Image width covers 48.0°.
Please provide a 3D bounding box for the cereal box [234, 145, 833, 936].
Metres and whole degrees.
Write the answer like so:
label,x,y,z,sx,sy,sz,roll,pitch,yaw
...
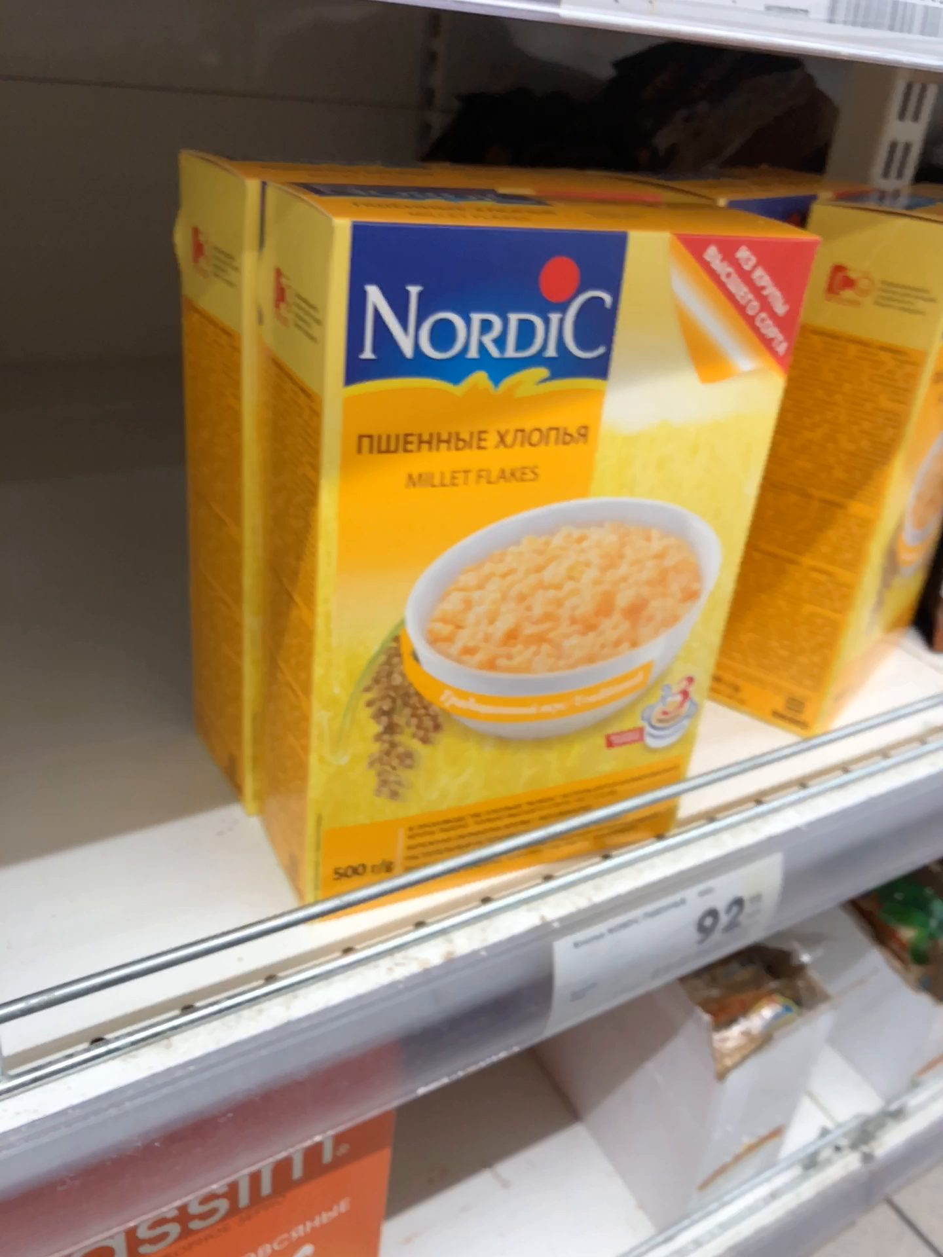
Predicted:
label,x,y,z,sx,sy,sz,roll,pitch,yaw
cereal box,0.007,-0.023,0.316,0.140,0.209,0.060,-8,31,-24
